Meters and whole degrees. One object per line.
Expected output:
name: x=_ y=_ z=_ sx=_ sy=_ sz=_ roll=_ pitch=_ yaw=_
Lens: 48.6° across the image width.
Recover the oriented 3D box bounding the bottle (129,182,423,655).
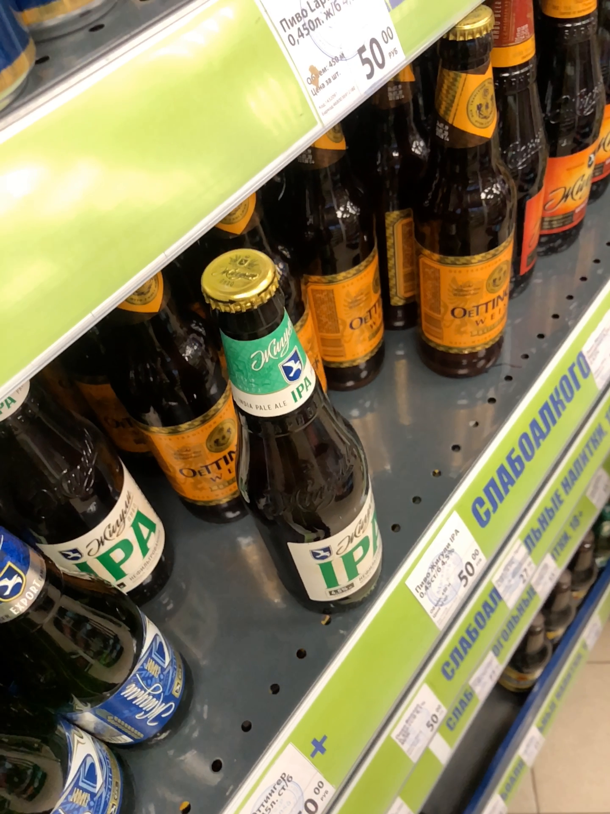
bottle: x=0.006 y=0.029 z=0.340 sx=0.070 sy=0.258 sz=0.080 roll=30 pitch=63 yaw=28
